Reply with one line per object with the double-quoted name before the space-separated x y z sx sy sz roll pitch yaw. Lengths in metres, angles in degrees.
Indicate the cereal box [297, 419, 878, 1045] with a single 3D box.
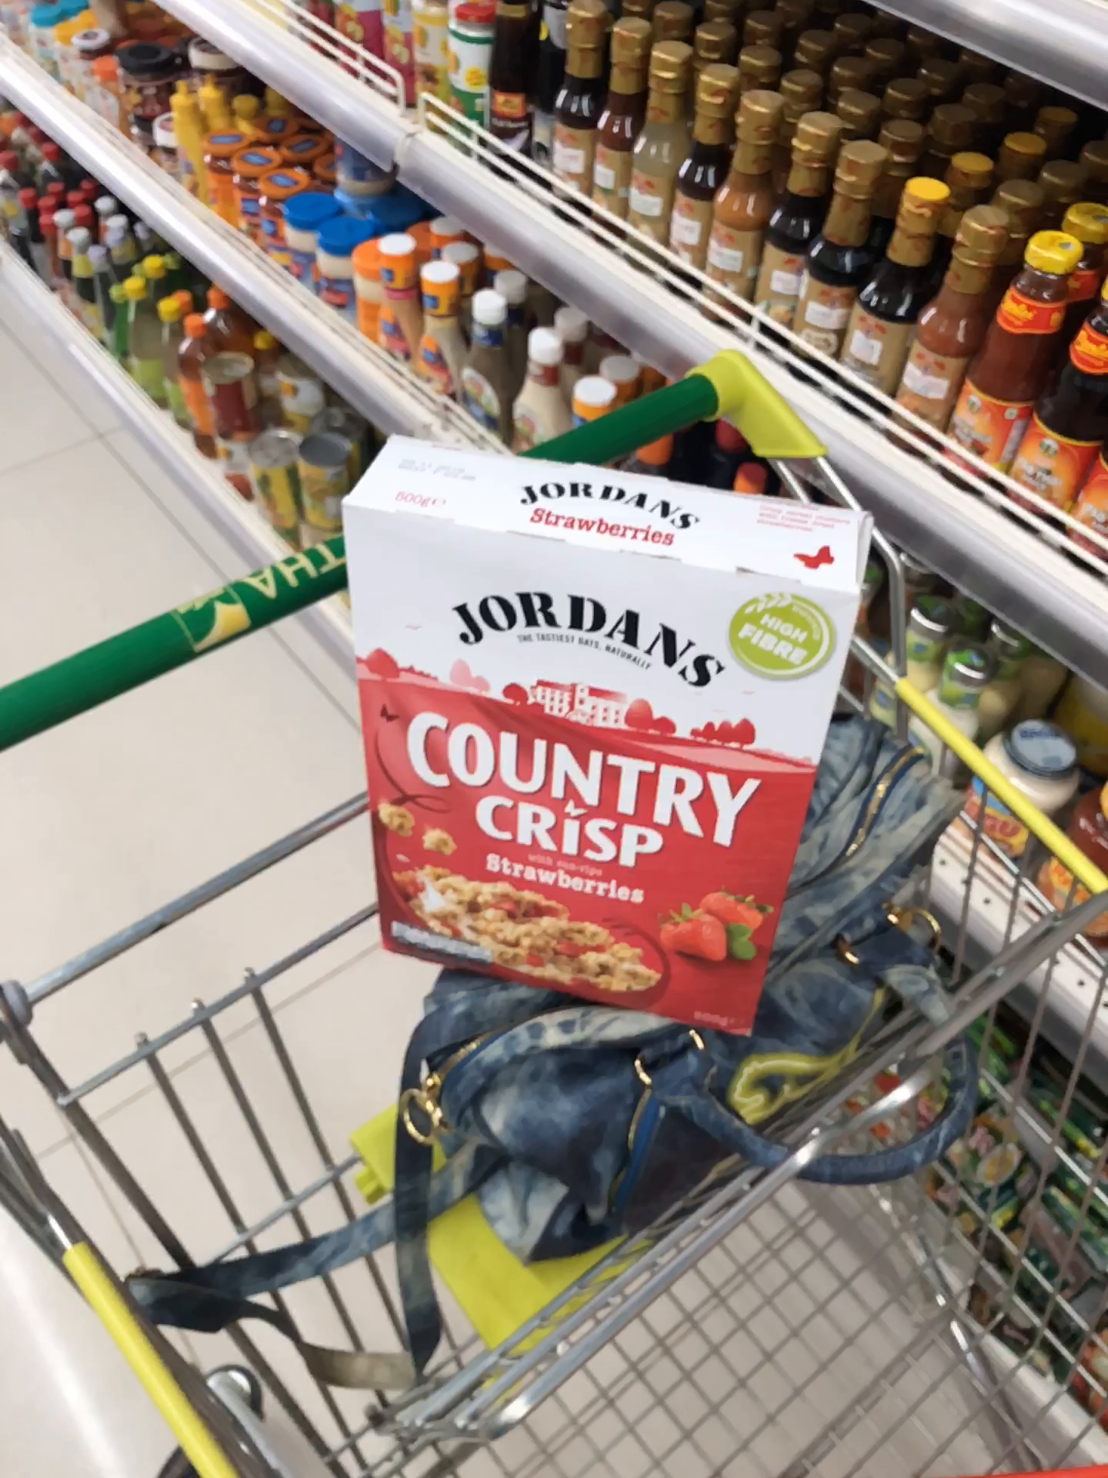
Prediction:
"cereal box" 0.007 0.011 0.509 0.190 0.249 0.060 12 45 8
